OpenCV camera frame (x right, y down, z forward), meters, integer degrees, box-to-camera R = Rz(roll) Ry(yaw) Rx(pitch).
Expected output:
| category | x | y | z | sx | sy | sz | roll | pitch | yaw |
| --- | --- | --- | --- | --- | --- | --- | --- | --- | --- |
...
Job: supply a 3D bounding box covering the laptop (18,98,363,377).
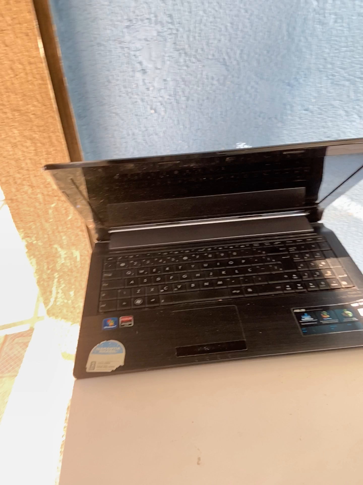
| category | x | y | z | sx | sy | sz | roll | pitch | yaw |
| --- | --- | --- | --- | --- | --- | --- | --- | --- | --- |
| laptop | 0.057 | -0.027 | 0.469 | 0.387 | 0.208 | 0.256 | -5 | 36 | -3 |
